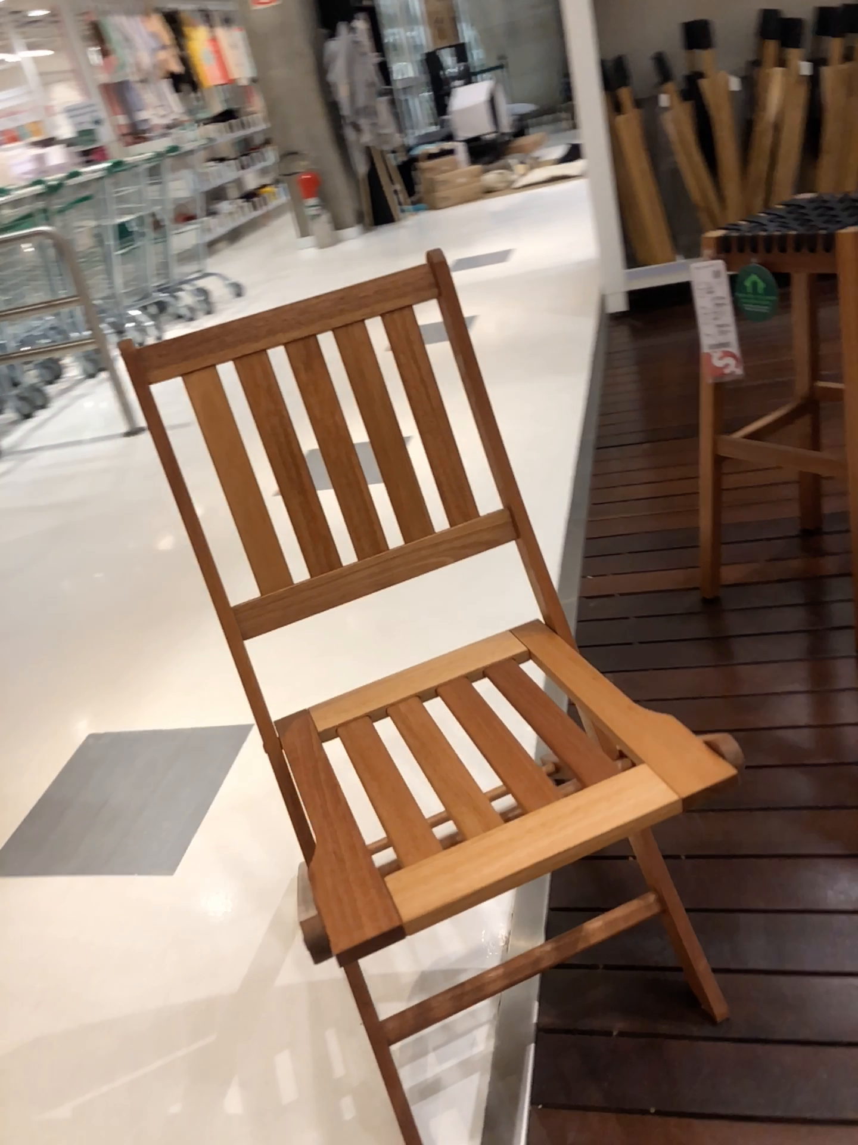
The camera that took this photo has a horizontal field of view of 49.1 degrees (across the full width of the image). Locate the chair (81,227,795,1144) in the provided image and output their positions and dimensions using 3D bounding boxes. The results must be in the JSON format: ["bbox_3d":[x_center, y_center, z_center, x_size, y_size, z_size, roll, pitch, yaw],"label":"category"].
[{"bbox_3d":[0.005,0.113,1.127,0.500,0.864,0.604,-21,27,-13],"label":"chair"}]
